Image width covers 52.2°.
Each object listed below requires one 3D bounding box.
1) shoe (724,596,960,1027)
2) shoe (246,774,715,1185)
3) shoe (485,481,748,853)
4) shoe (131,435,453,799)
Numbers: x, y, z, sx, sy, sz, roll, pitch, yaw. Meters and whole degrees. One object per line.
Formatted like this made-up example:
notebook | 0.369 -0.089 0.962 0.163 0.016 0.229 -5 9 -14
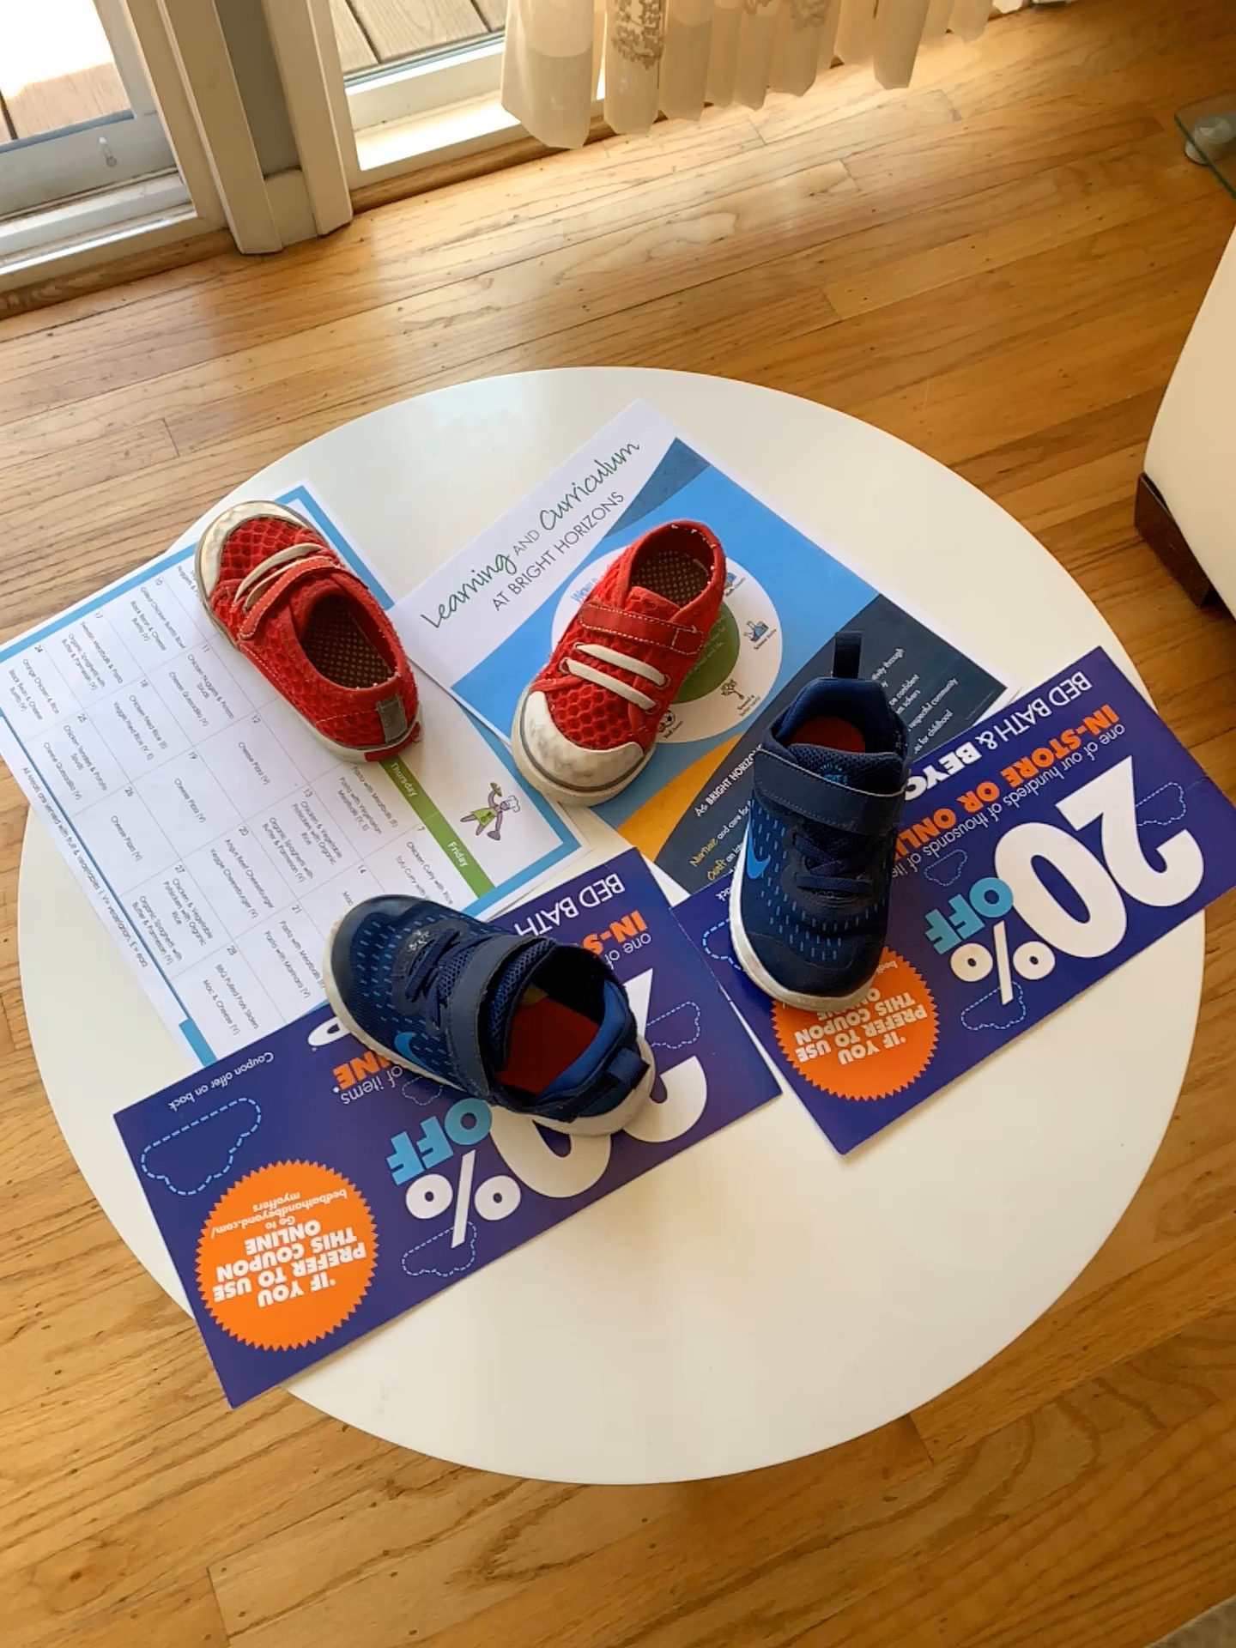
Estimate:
shoe | 0.093 -0.003 0.558 0.080 0.100 0.160 3 67 0
shoe | -0.051 0.065 0.504 0.150 0.100 0.080 26 69 9
shoe | 0.001 -0.078 0.623 0.060 0.070 0.160 24 69 9
shoe | -0.162 -0.104 0.634 0.070 0.070 0.160 -36 72 -15
